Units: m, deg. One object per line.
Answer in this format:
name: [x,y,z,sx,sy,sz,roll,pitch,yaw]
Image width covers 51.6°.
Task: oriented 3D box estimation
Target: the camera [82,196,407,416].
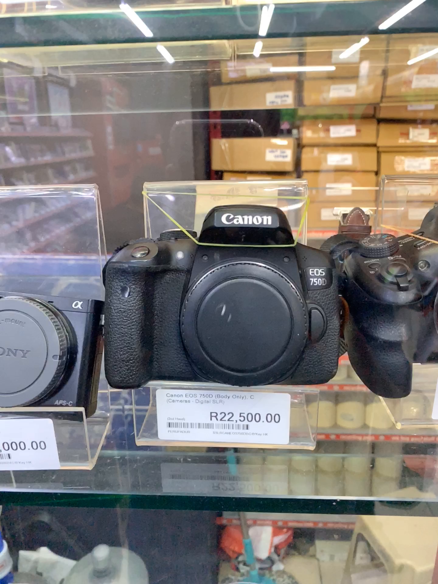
camera: [0.009,0.003,0.228,0.130,0.090,0.070,1,18,-2]
